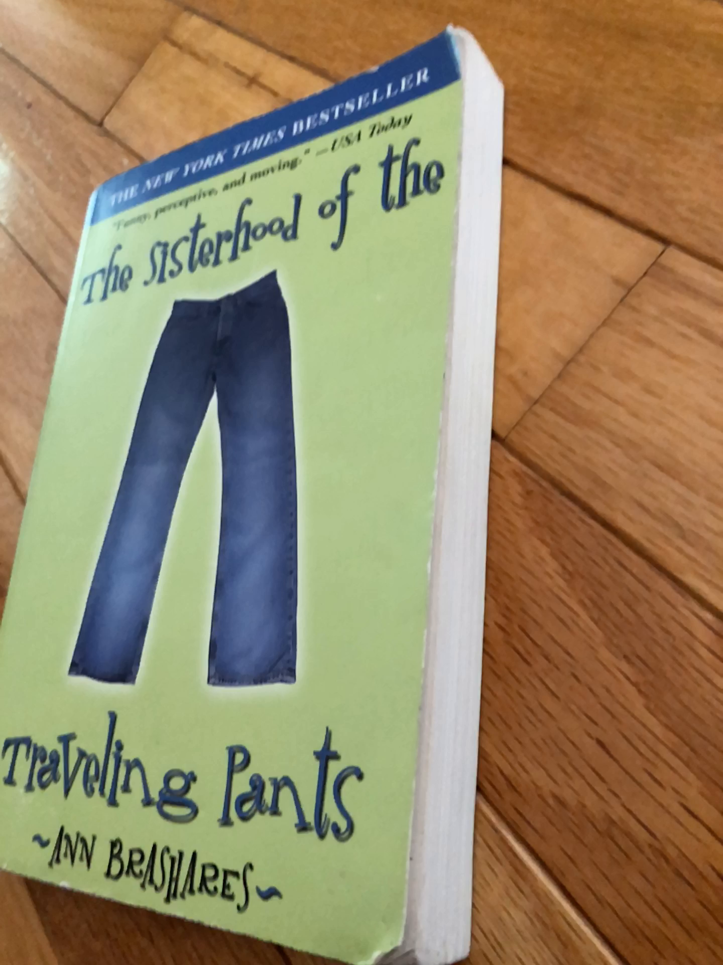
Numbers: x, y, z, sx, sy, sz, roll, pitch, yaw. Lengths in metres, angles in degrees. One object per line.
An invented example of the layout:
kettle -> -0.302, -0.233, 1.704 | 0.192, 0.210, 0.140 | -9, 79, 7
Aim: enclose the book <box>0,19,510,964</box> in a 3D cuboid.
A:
book -> -0.036, -0.005, 0.211 | 0.142, 0.025, 0.209 | -6, 67, 31
